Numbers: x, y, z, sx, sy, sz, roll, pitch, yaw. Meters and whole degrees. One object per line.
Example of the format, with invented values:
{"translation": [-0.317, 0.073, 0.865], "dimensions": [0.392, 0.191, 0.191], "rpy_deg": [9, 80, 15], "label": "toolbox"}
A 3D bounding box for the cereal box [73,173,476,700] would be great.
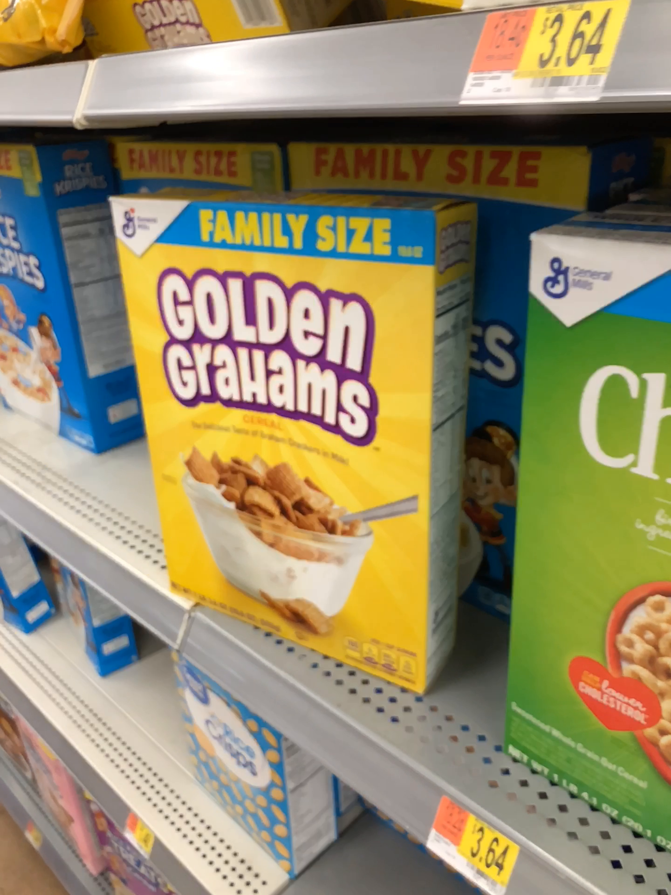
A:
{"translation": [-0.036, -0.015, 0.504], "dimensions": [0.240, 0.309, 0.070], "rpy_deg": [13, 30, 31], "label": "cereal box"}
